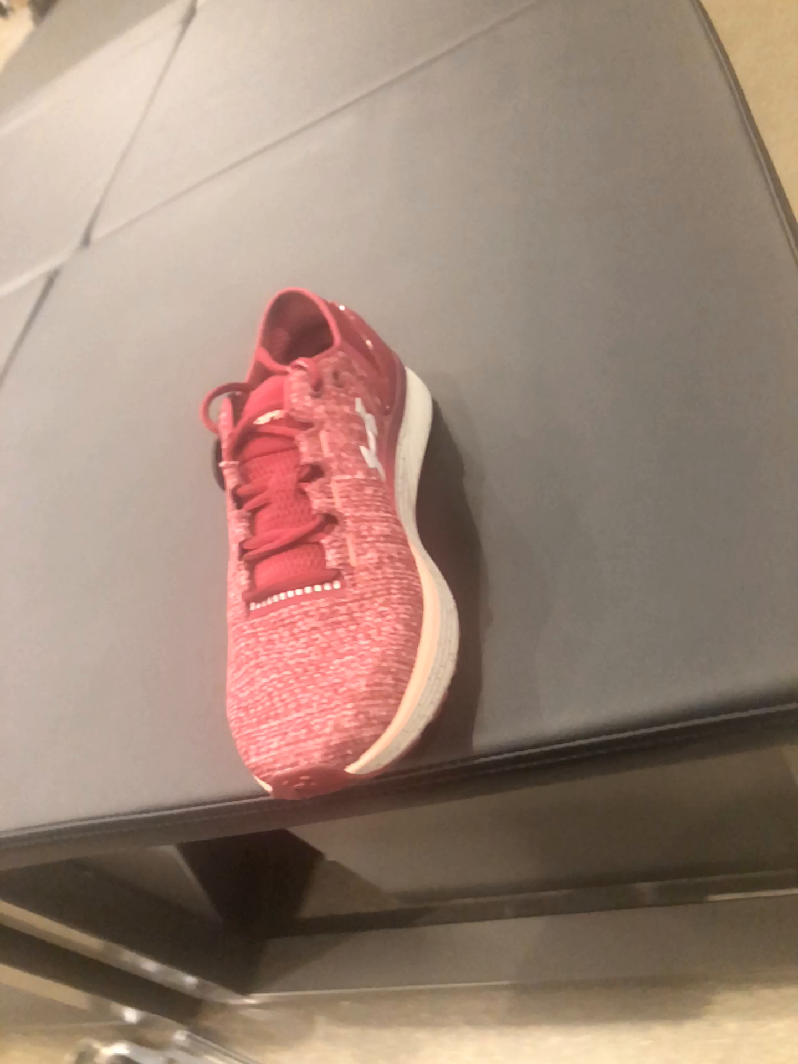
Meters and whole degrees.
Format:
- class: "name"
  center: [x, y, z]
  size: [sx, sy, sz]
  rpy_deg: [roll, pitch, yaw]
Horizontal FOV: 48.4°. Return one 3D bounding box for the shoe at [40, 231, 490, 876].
- class: "shoe"
  center: [-0.049, -0.003, 0.395]
  size: [0.122, 0.097, 0.254]
  rpy_deg: [-22, 44, 19]
